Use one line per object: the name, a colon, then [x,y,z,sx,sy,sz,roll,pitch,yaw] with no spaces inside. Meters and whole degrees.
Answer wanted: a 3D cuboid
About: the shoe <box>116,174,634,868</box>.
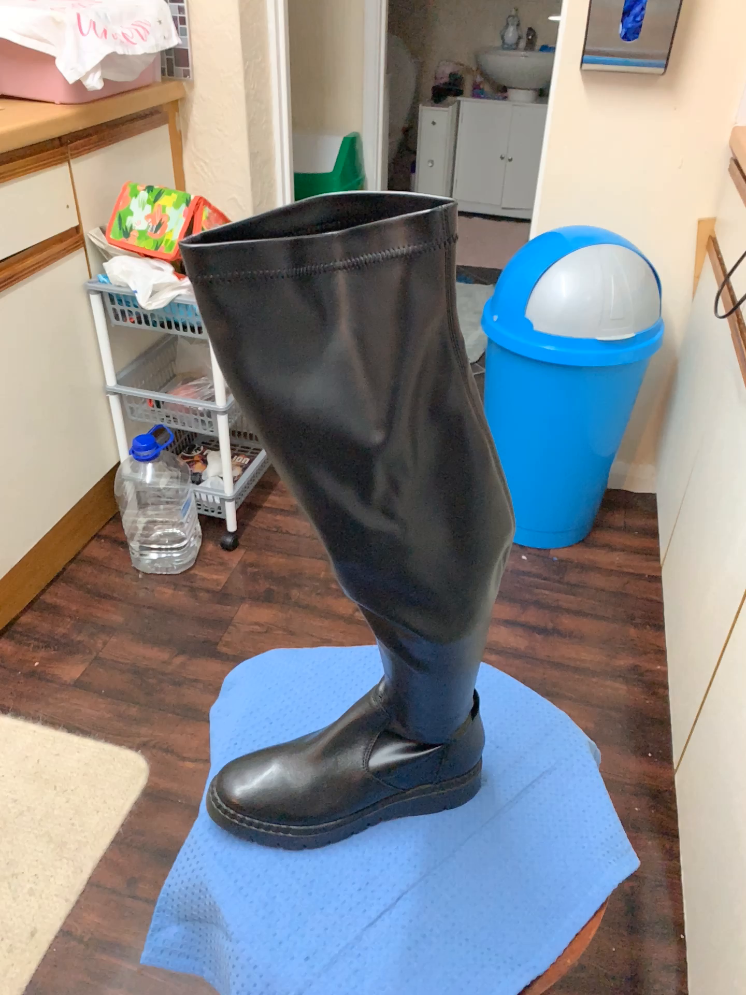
shoe: [-0.013,0.053,0.578,0.271,0.535,0.107,-7,36,-13]
